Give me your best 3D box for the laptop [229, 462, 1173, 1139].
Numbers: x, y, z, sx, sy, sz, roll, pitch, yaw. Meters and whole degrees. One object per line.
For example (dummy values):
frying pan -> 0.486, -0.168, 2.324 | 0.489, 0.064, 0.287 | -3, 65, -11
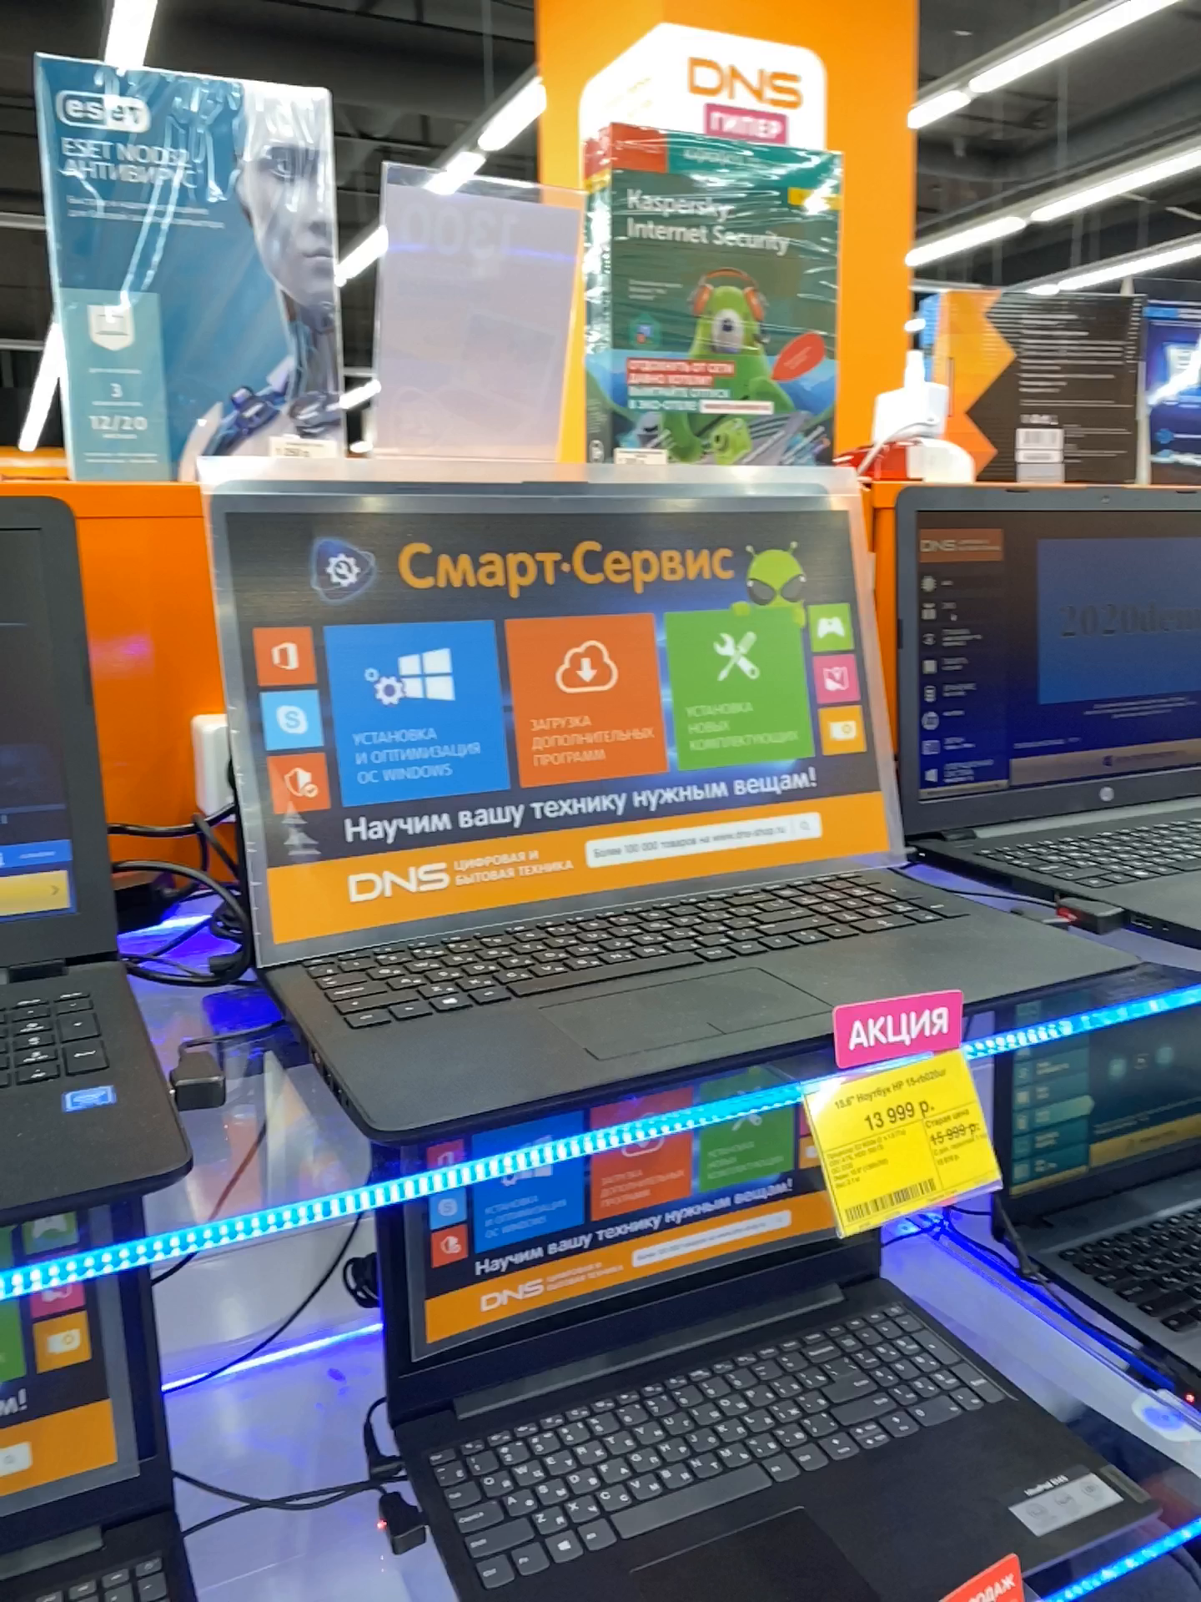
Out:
laptop -> 0.034, -0.039, 0.614 | 0.377, 0.235, 0.262 | -6, 12, -24
